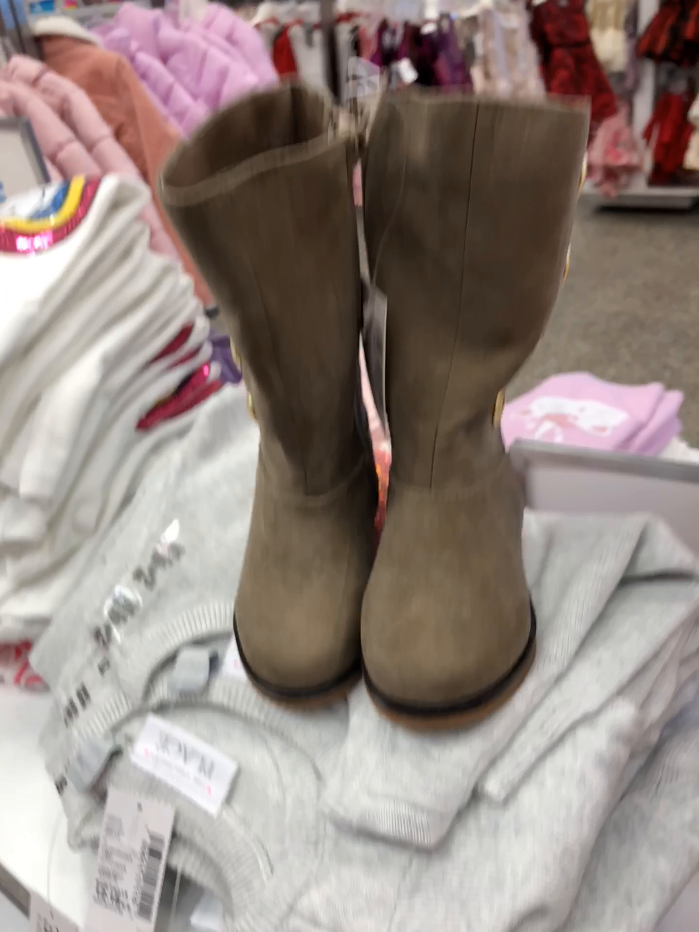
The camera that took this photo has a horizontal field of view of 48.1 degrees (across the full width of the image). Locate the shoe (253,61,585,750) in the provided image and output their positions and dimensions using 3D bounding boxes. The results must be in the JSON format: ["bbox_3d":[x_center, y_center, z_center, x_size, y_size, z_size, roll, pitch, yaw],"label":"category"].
[{"bbox_3d":[0.038,-0.027,0.272,0.070,0.184,0.148,0,32,13],"label":"shoe"}]

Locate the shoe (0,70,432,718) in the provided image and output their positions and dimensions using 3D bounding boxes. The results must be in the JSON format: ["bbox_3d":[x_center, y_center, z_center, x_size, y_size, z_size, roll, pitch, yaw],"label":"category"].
[{"bbox_3d":[-0.020,-0.026,0.281,0.070,0.164,0.156,1,43,14],"label":"shoe"}]
